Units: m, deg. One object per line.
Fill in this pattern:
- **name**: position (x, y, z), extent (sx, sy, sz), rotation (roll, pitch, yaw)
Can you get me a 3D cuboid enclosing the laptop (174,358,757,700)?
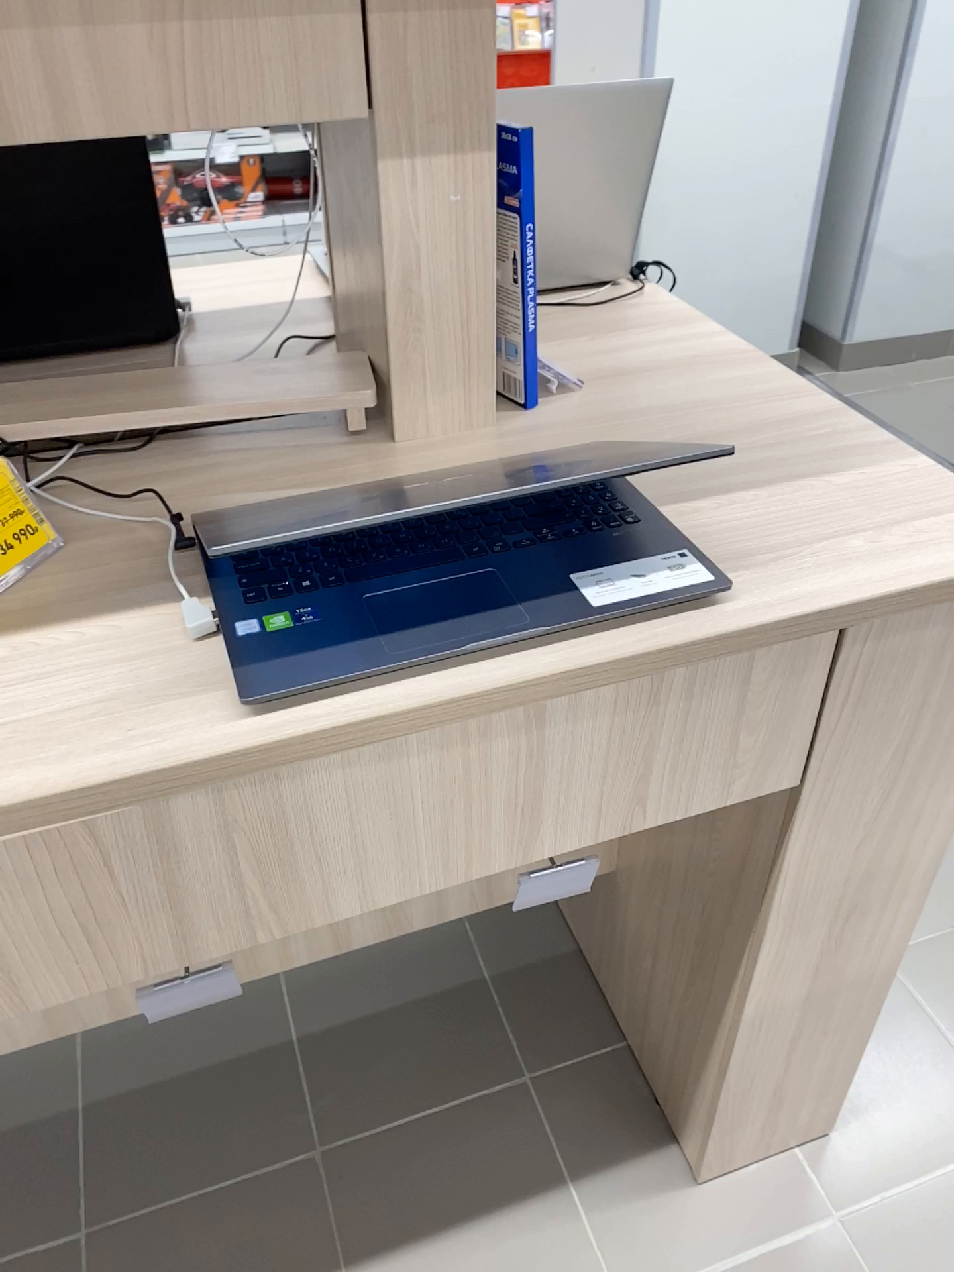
- **laptop**: position (-0.019, -0.099, 0.714), extent (0.353, 0.088, 0.237), rotation (-13, 38, -17)
